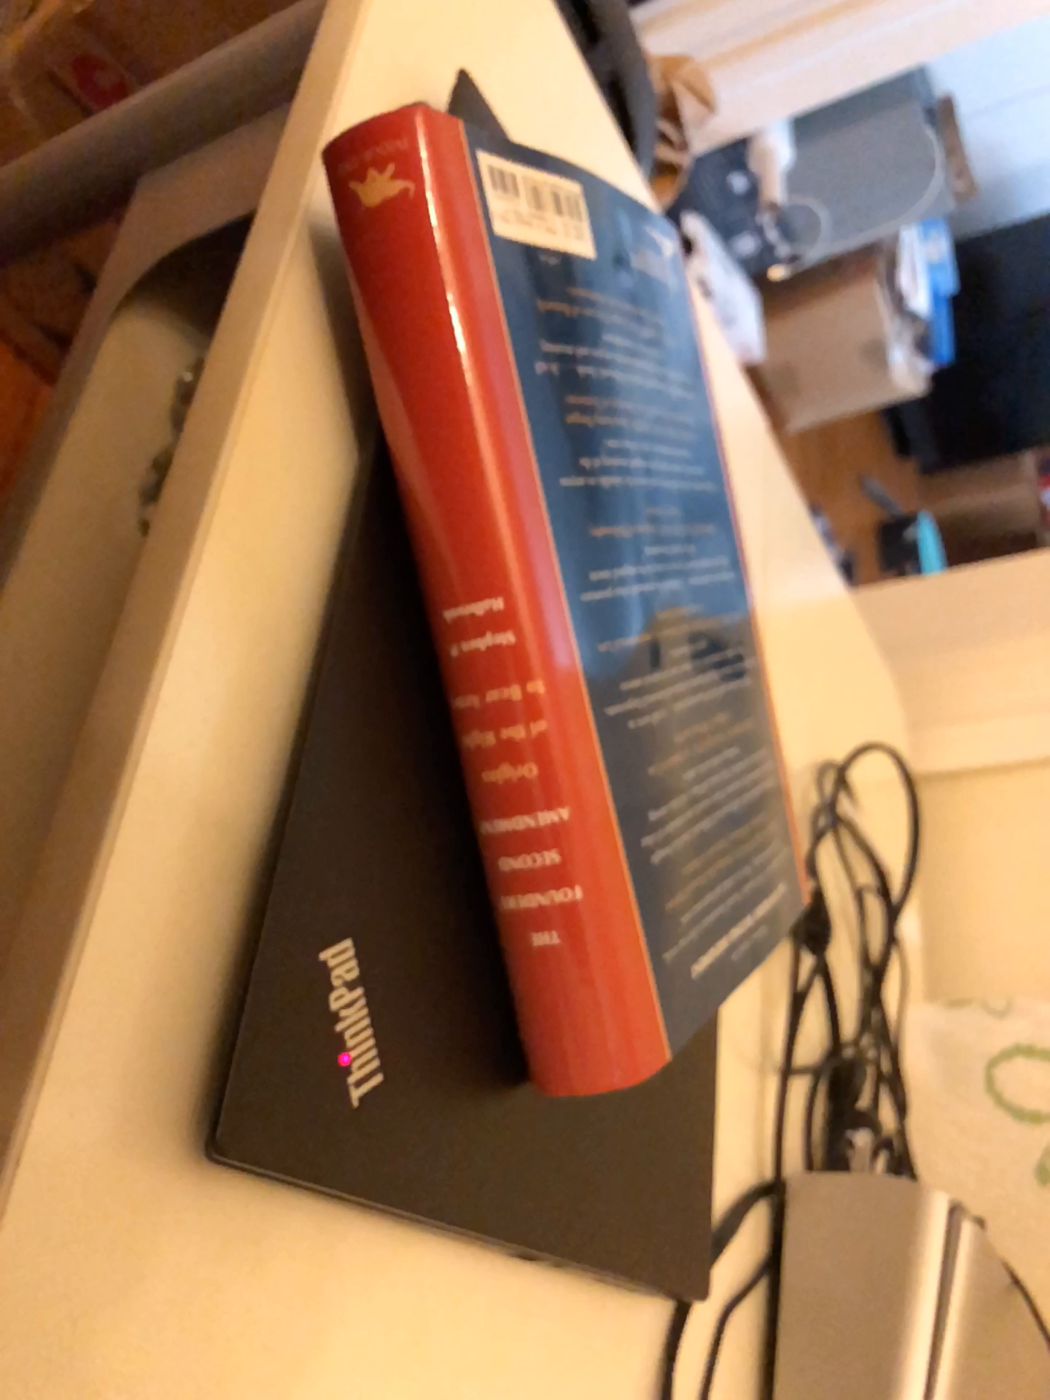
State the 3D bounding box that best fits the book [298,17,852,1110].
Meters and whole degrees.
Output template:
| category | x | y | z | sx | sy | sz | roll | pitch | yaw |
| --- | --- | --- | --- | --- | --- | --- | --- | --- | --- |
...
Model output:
| category | x | y | z | sx | sy | sz | roll | pitch | yaw |
| --- | --- | --- | --- | --- | --- | --- | --- | --- | --- |
| book | 0.031 | -0.036 | 0.340 | 0.171 | 0.040 | 0.240 | -16 | 92 | -64 |
